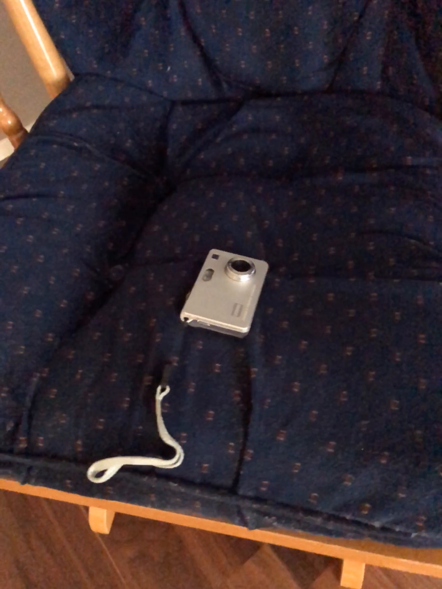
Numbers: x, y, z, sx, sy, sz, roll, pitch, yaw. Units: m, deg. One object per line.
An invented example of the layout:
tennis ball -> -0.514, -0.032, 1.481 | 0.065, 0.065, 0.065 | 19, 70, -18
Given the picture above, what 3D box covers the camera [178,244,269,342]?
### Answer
camera -> 0.004, -0.004, 0.422 | 0.058, 0.018, 0.085 | 14, 48, 8
